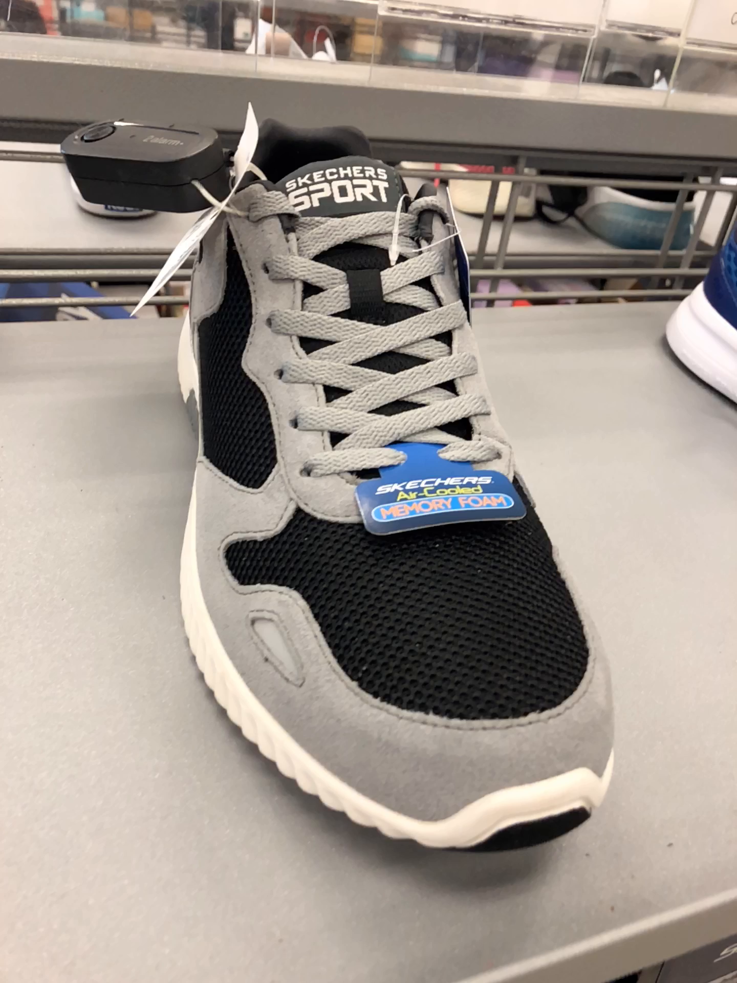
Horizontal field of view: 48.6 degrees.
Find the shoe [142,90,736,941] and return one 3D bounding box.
[{"bbox_3d":[-0.009,-0.039,0.283,0.120,0.119,0.302,-2,36,-17],"label":"shoe"}]
